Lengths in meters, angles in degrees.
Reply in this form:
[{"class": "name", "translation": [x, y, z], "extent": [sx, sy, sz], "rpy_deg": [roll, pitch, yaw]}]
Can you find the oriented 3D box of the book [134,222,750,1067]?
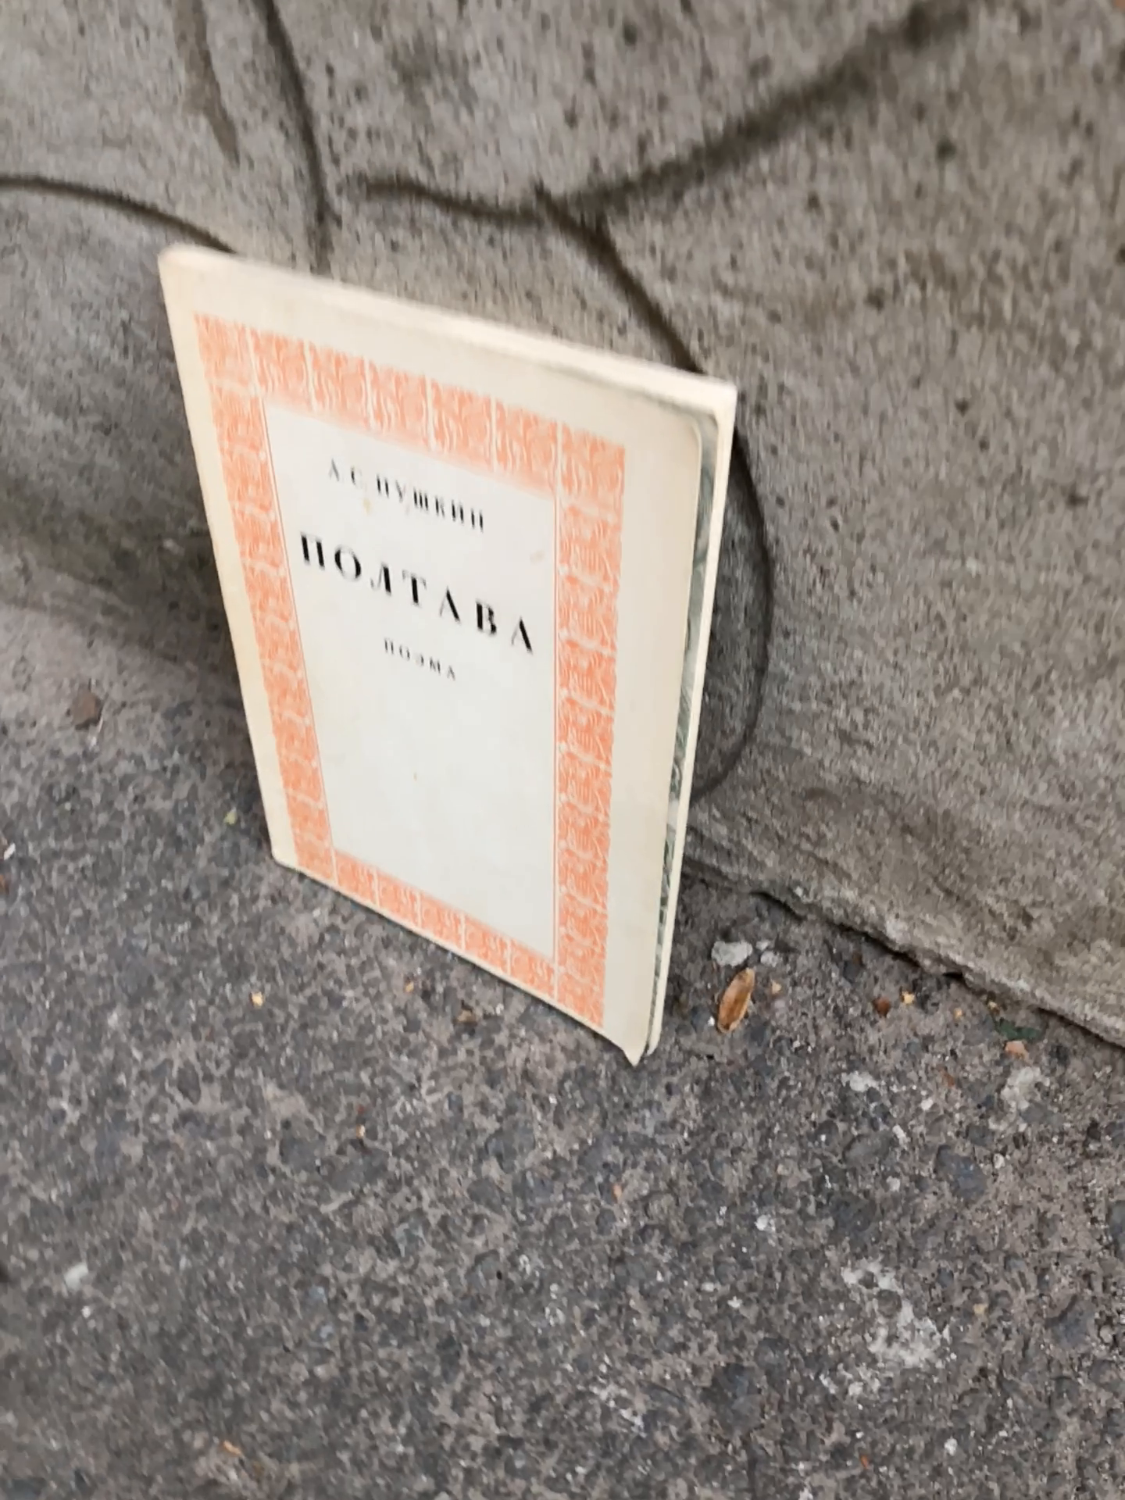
[{"class": "book", "translation": [-0.033, -0.018, 0.329], "extent": [0.150, 0.199, 0.020], "rpy_deg": [25, 47, 25]}]
